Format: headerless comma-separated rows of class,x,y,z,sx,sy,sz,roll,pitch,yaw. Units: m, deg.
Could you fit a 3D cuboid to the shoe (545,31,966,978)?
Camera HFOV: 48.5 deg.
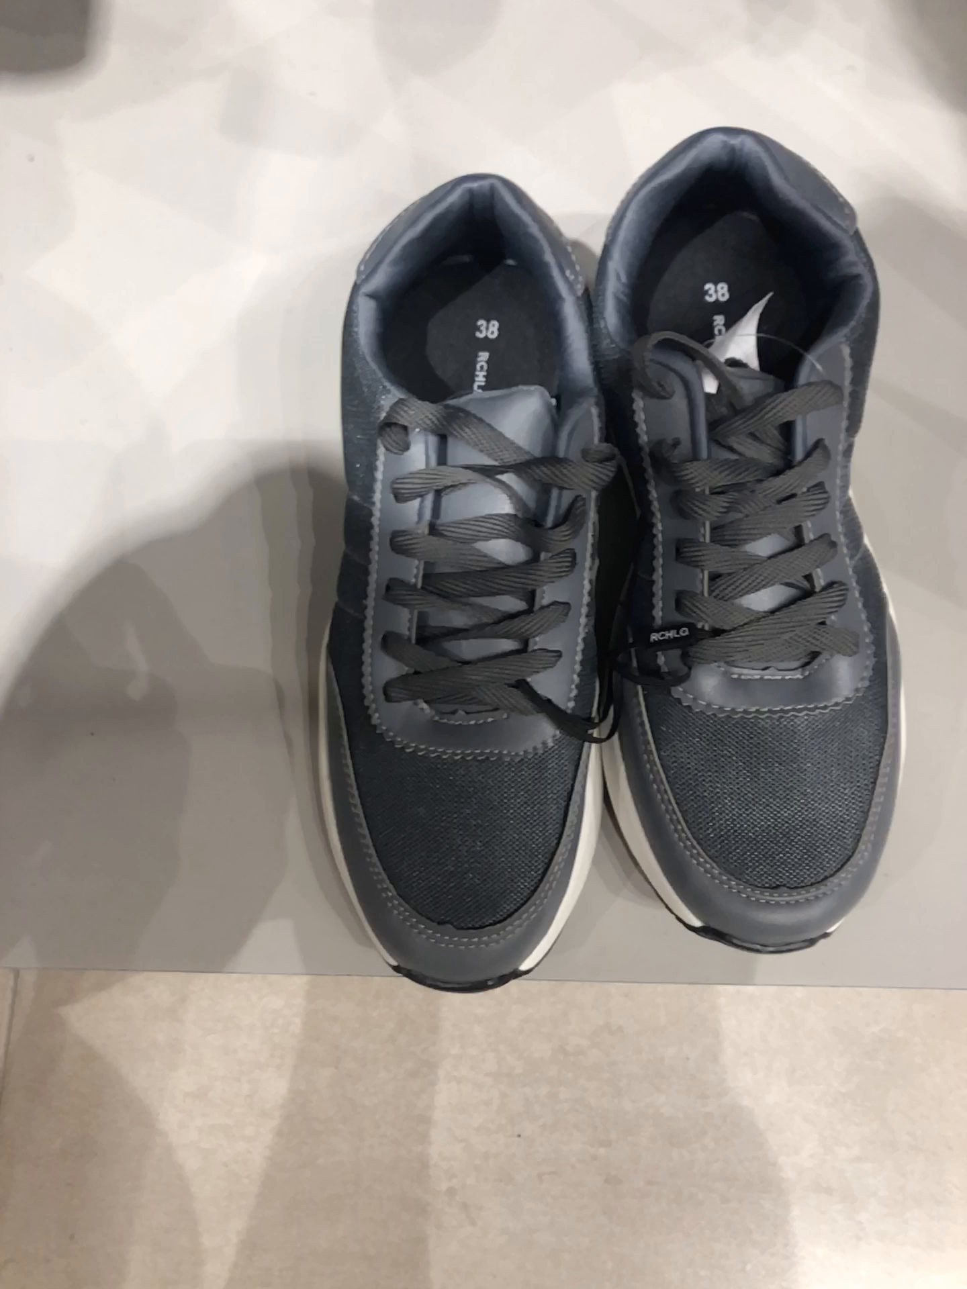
shoe,0.084,-0.041,0.352,0.110,0.100,0.280,-3,74,5

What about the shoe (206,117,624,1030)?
shoe,-0.013,-0.022,0.365,0.110,0.100,0.280,-1,75,5
